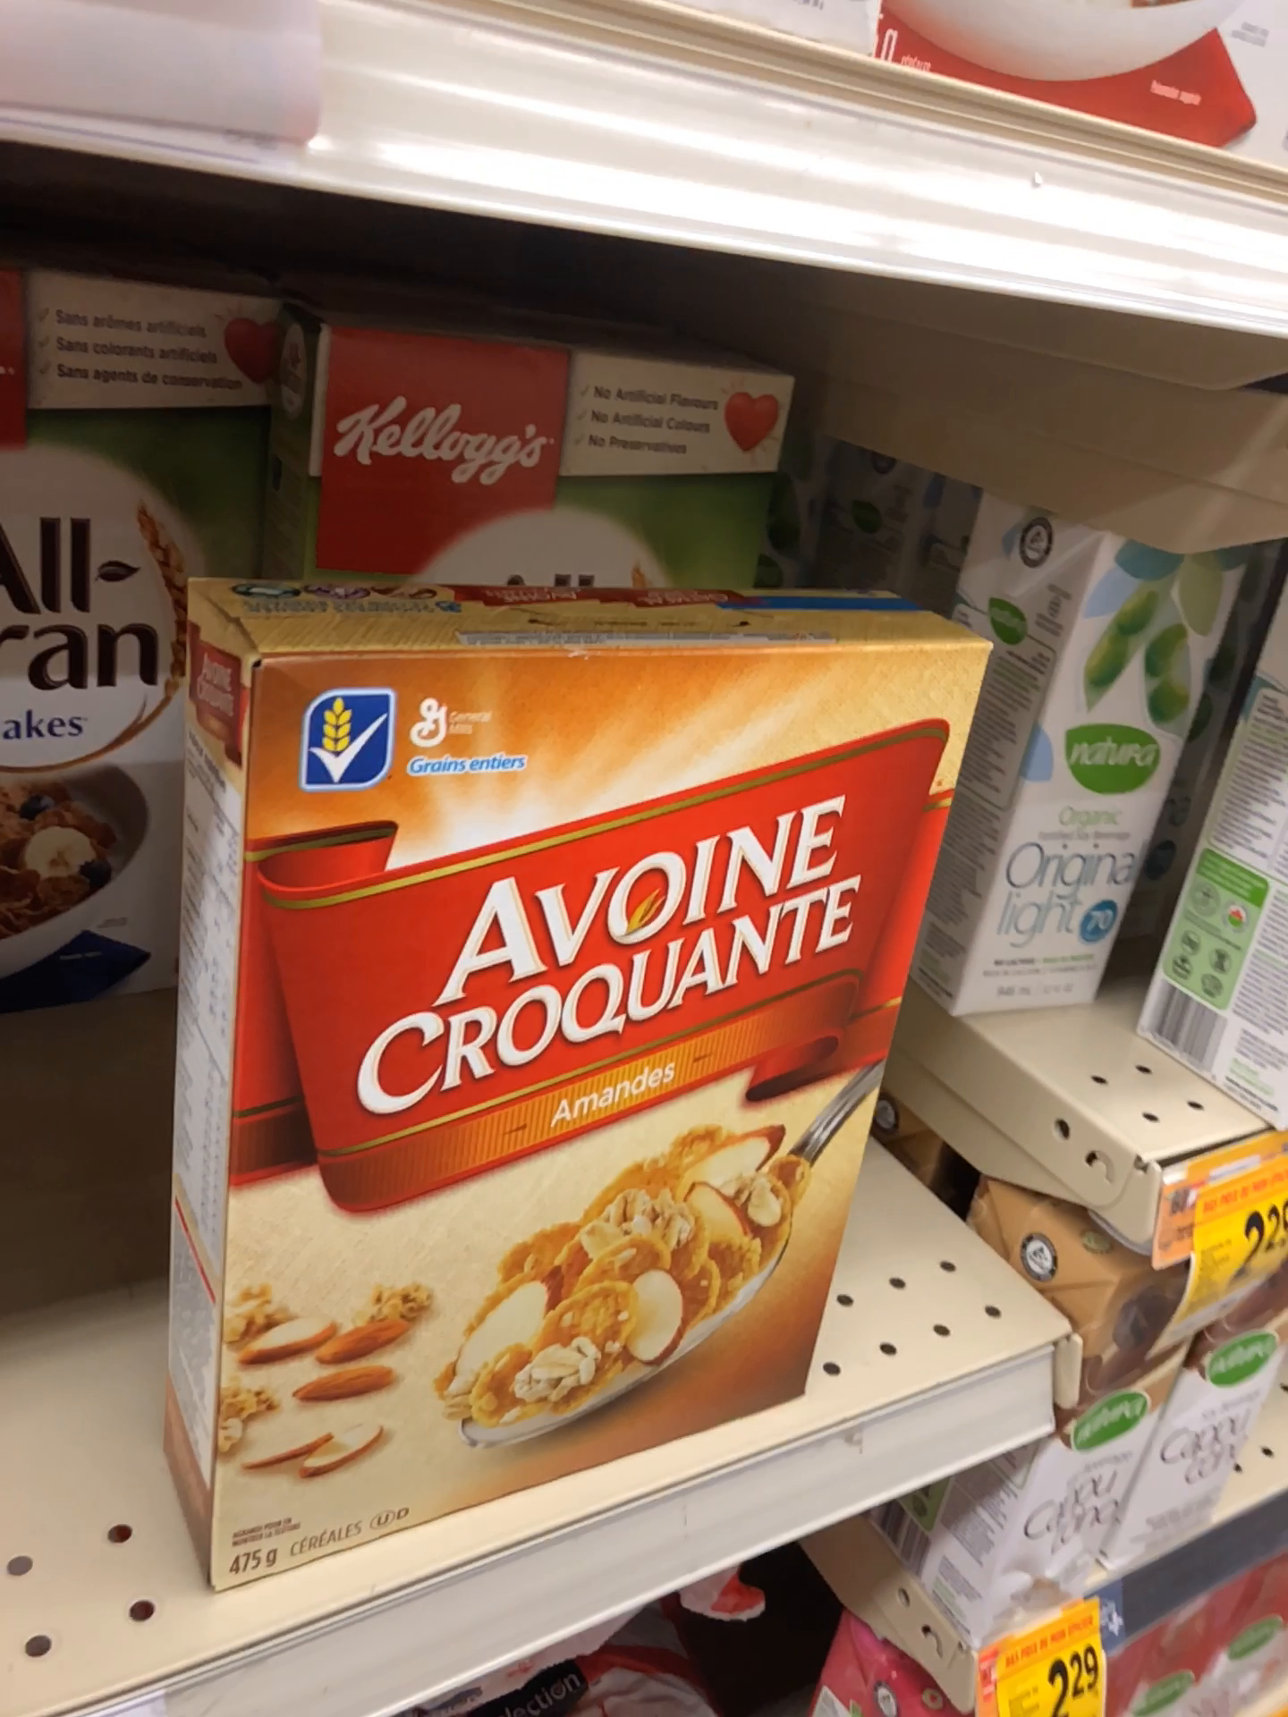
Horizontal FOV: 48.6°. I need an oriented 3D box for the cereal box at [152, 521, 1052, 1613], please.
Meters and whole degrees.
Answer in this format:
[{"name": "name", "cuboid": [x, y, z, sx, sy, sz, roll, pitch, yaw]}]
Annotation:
[{"name": "cereal box", "cuboid": [-0.020, 0.054, 0.386, 0.200, 0.268, 0.060, -5, 29, -30]}]
